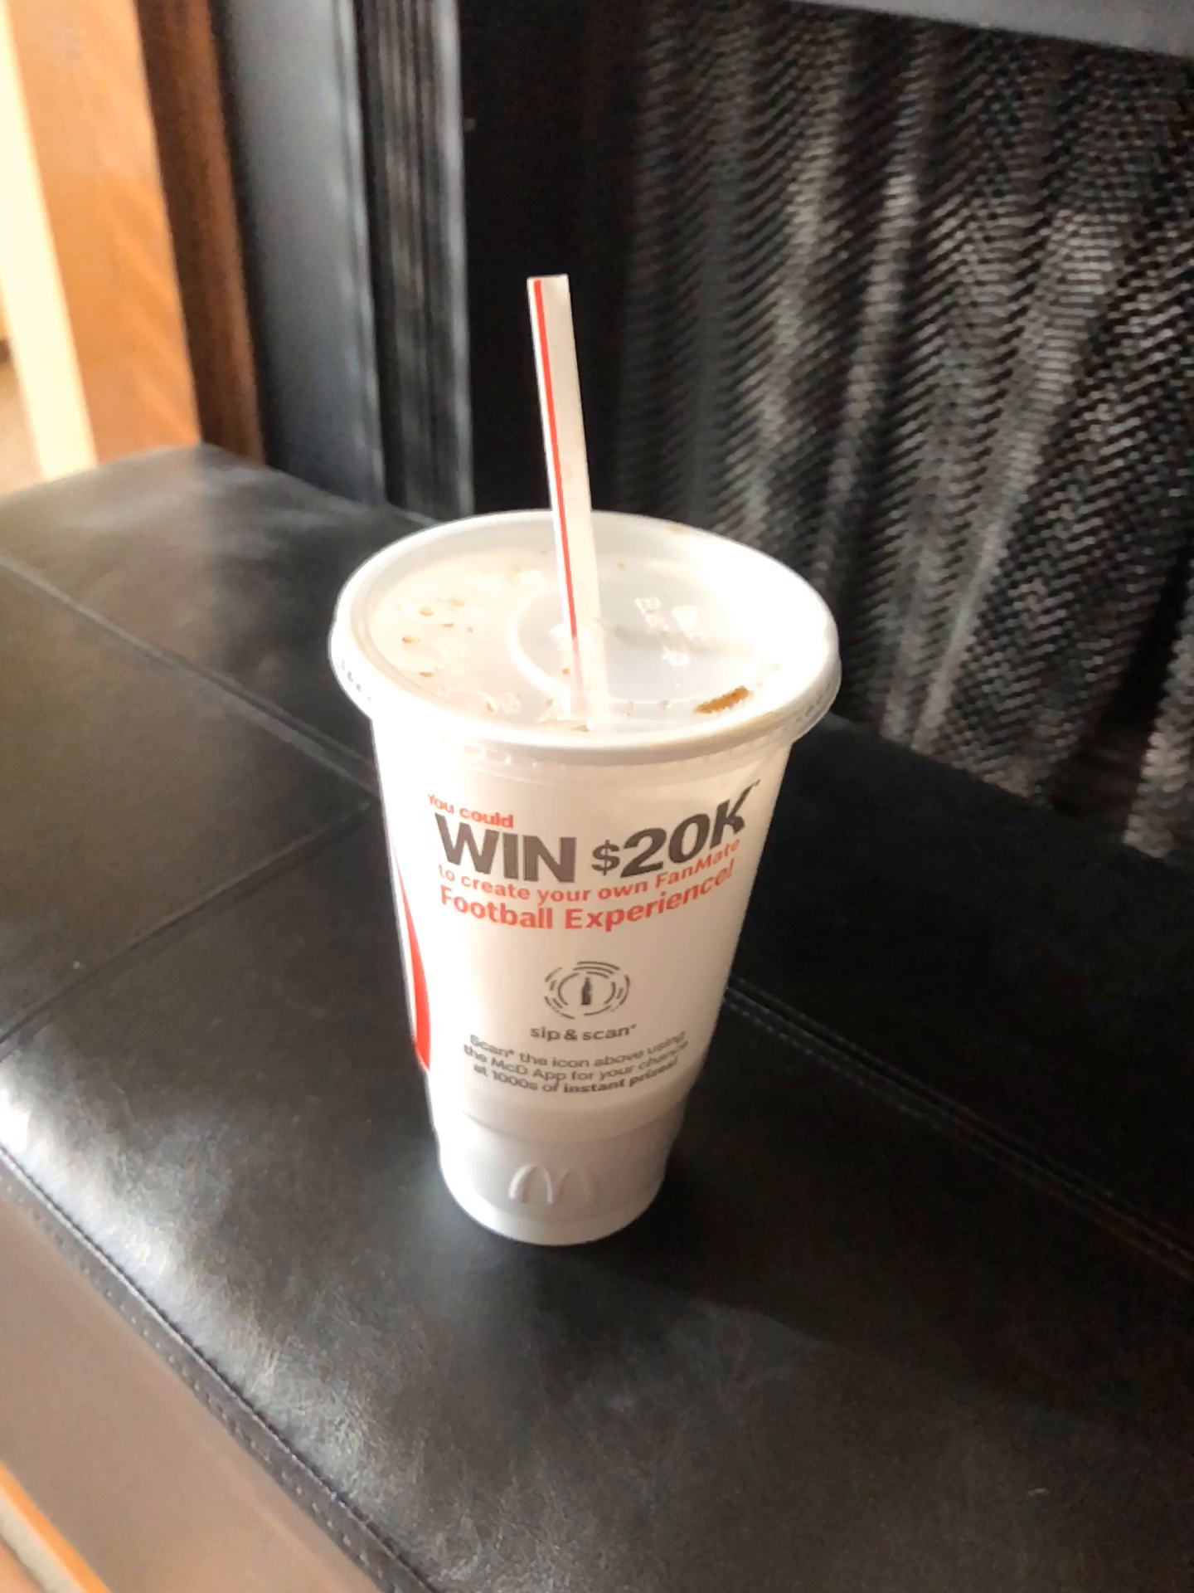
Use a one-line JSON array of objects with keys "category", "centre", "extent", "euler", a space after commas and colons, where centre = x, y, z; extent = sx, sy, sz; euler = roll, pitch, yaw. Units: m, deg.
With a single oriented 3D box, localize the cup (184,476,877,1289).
[{"category": "cup", "centre": [-0.011, 0.020, 0.319], "extent": [0.120, 0.150, 0.110], "euler": [2, 37, -1]}]
